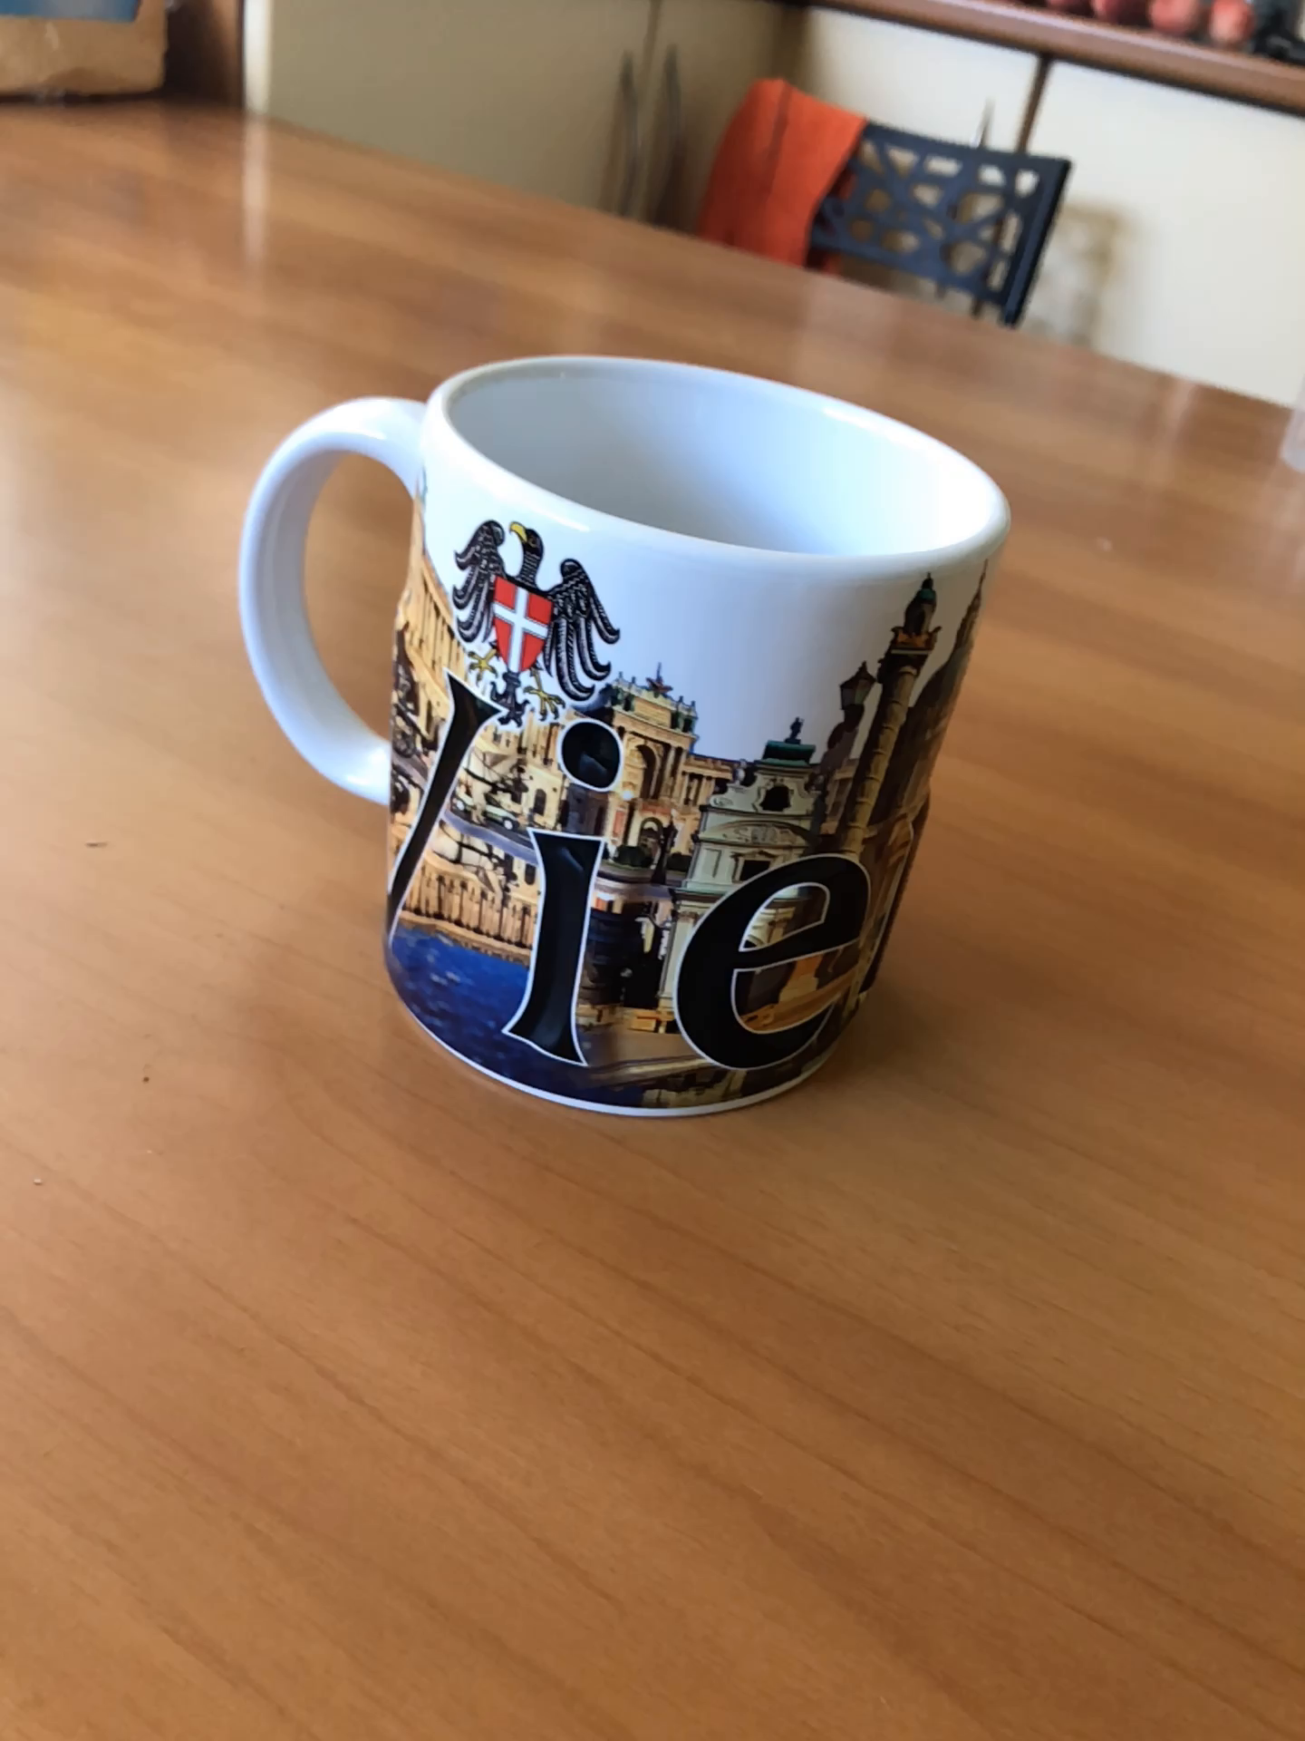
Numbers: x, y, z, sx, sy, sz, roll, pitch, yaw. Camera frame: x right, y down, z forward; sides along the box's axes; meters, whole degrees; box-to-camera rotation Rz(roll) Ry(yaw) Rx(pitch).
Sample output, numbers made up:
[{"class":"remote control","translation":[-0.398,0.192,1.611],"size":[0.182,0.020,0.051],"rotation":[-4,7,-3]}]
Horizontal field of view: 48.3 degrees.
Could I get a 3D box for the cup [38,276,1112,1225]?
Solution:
[{"class":"cup","translation":[-0.013,-0.035,0.275],"size":[0.150,0.099,0.111],"rotation":[23,34,17]}]
